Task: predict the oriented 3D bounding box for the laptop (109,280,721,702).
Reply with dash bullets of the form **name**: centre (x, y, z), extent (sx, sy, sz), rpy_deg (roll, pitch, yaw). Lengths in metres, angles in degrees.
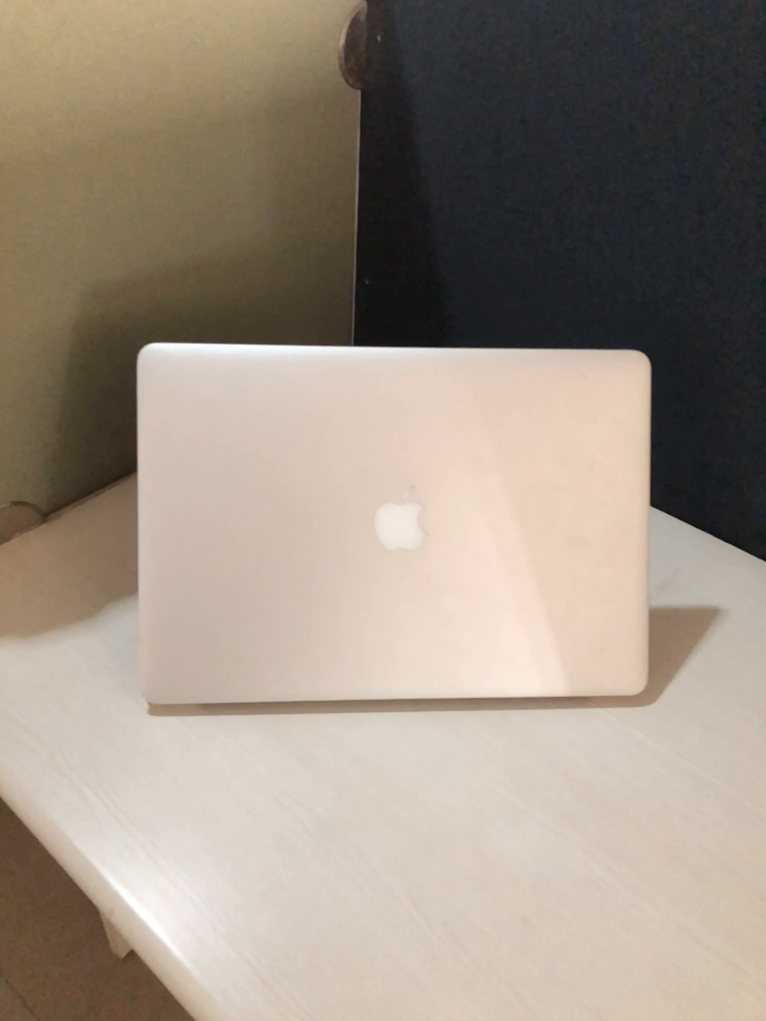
- **laptop**: centre (0.011, -0.019, 0.618), extent (0.343, 0.198, 0.236), rpy_deg (1, 39, -5)
